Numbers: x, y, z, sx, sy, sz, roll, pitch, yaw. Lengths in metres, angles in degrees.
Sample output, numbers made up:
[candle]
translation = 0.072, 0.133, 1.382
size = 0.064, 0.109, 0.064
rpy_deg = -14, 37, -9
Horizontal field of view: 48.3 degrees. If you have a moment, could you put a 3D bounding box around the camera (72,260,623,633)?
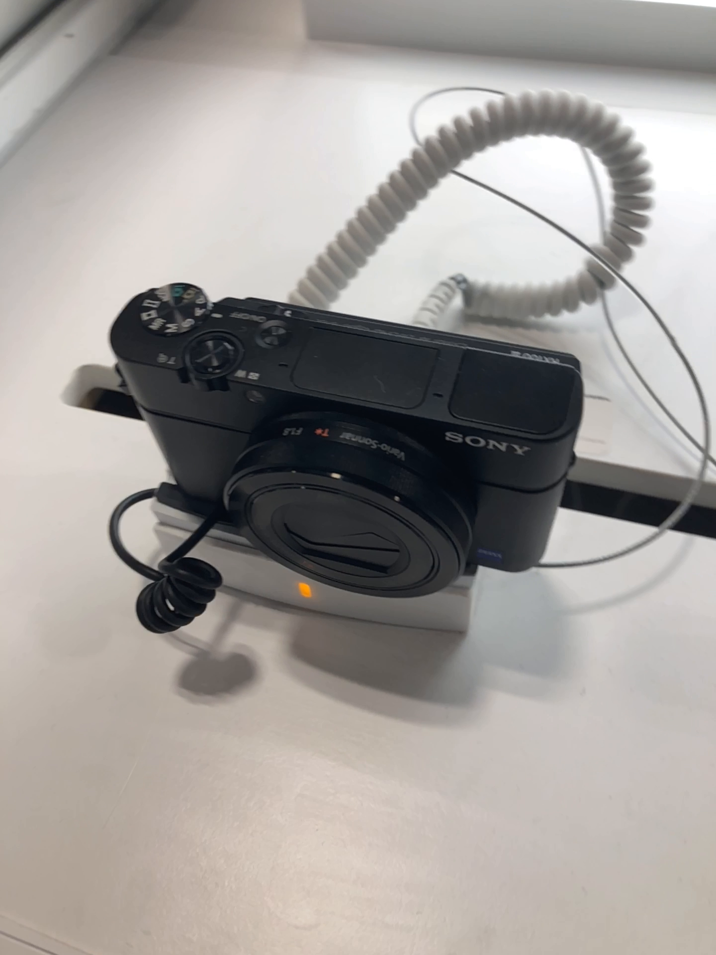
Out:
[camera]
translation = -0.002, -0.006, 0.192
size = 0.110, 0.070, 0.030
rpy_deg = 13, 55, 14
